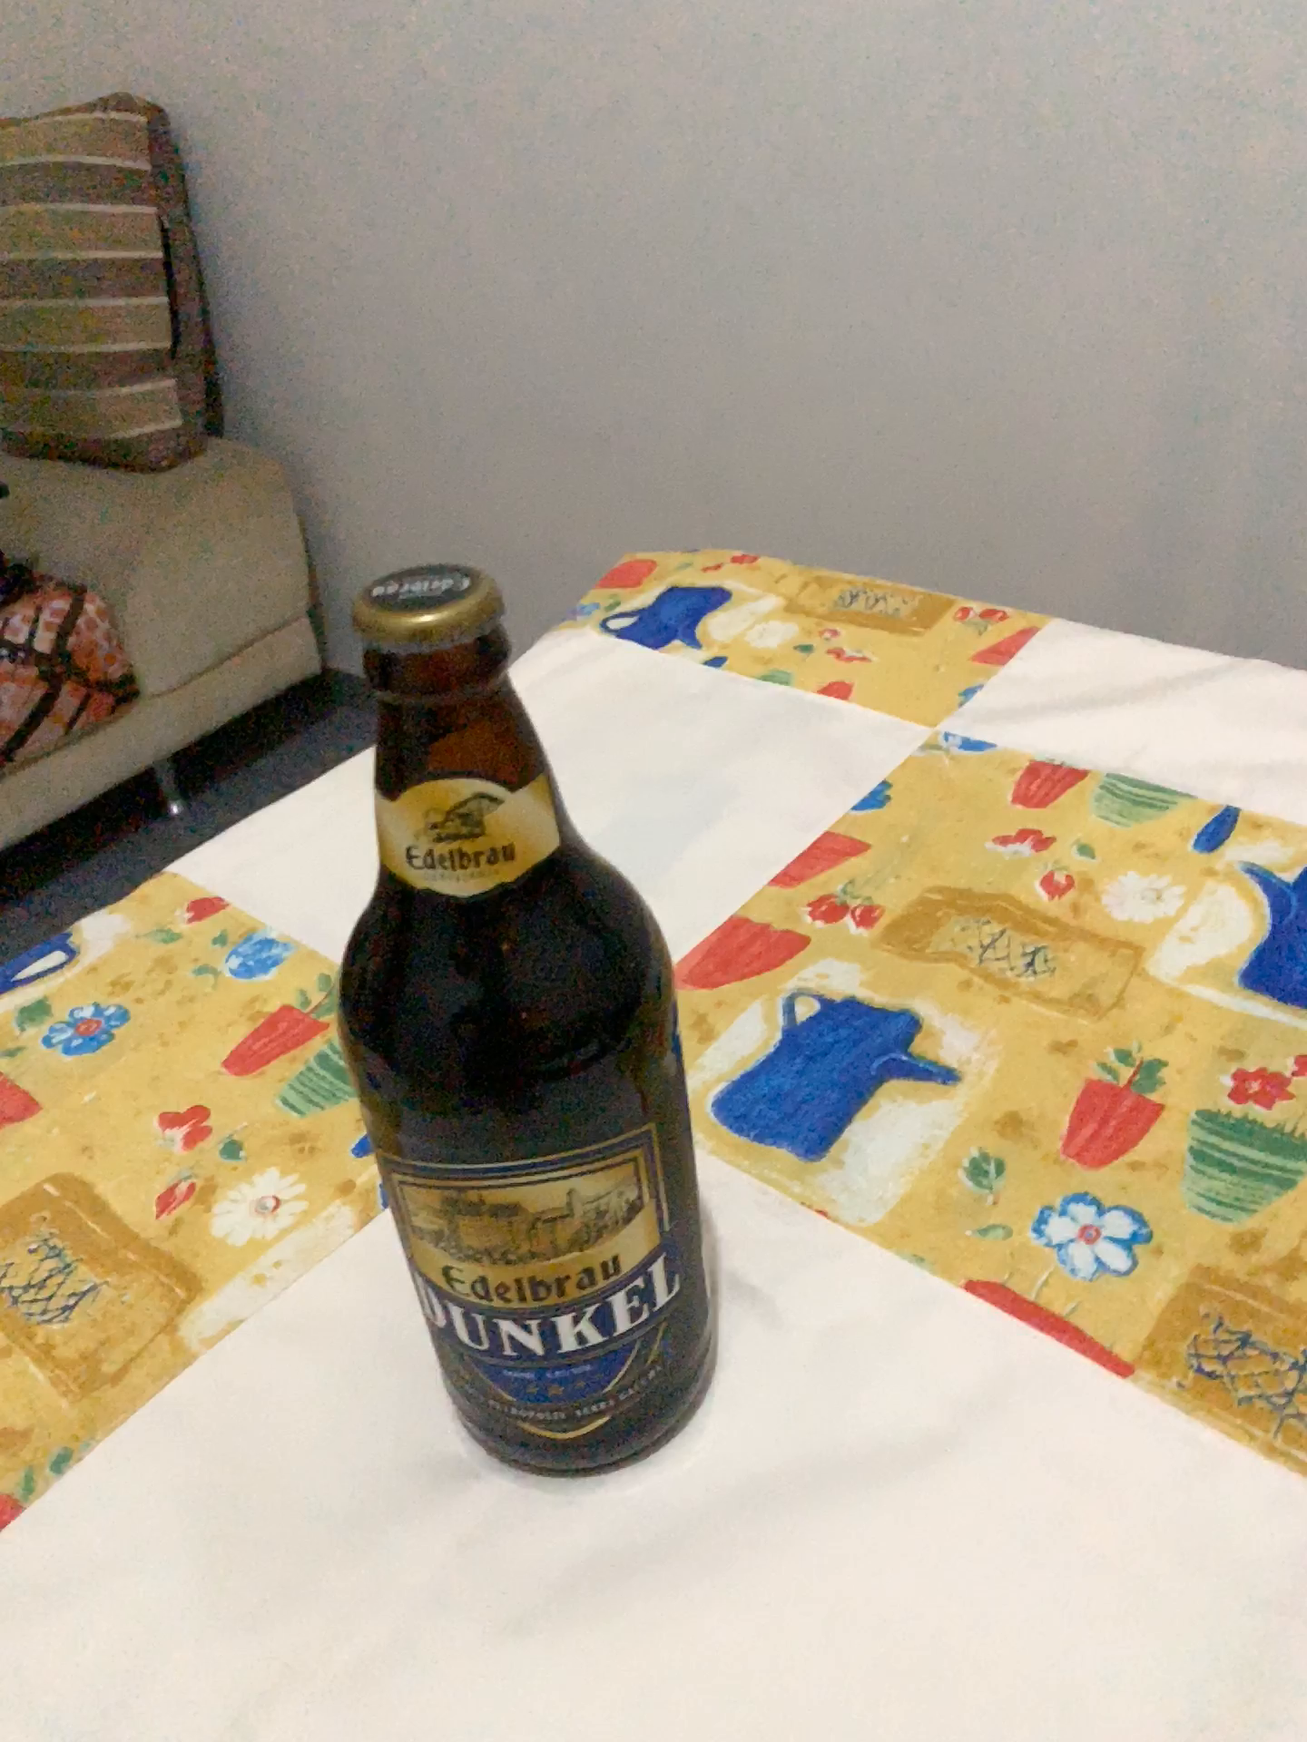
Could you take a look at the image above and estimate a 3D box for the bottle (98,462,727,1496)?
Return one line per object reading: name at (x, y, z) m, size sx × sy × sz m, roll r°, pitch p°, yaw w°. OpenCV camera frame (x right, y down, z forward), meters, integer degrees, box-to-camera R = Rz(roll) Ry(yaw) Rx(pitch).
bottle at (-0.035, 0.035, 0.297) m, size 0.080 × 0.219 × 0.080 m, roll -5°, pitch 34°, yaw 3°
